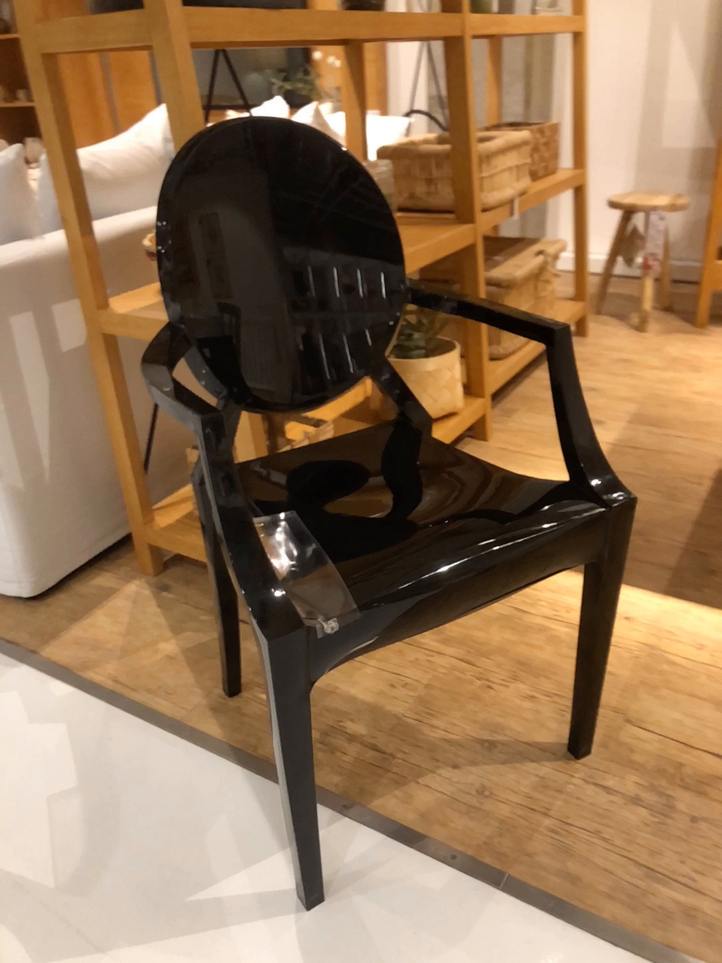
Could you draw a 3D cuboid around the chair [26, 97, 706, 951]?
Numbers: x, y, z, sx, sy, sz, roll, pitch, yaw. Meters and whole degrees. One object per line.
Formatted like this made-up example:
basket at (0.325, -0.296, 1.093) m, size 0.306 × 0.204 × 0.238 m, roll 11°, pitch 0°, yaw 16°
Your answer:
chair at (-0.008, -0.018, 1.118) m, size 0.541 × 0.903 × 0.593 m, roll -20°, pitch 31°, yaw -29°
